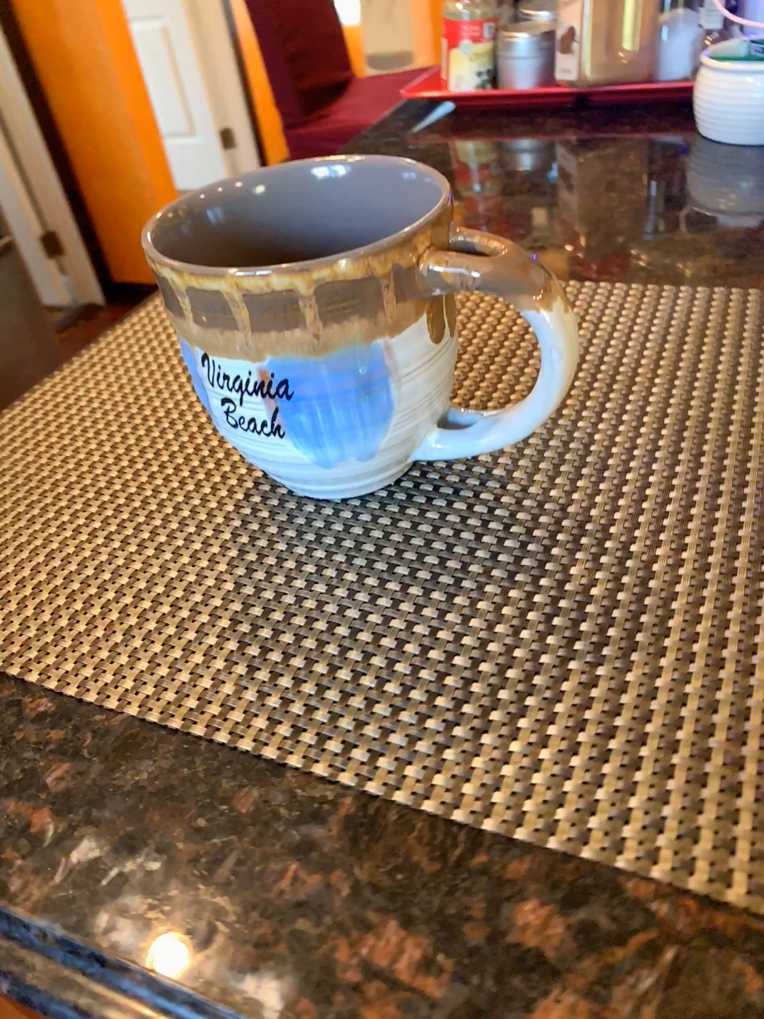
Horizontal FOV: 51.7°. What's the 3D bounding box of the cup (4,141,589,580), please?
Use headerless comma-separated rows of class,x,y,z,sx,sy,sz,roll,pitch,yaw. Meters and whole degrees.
cup,-0.021,-0.061,0.267,0.150,0.090,0.100,14,45,27
